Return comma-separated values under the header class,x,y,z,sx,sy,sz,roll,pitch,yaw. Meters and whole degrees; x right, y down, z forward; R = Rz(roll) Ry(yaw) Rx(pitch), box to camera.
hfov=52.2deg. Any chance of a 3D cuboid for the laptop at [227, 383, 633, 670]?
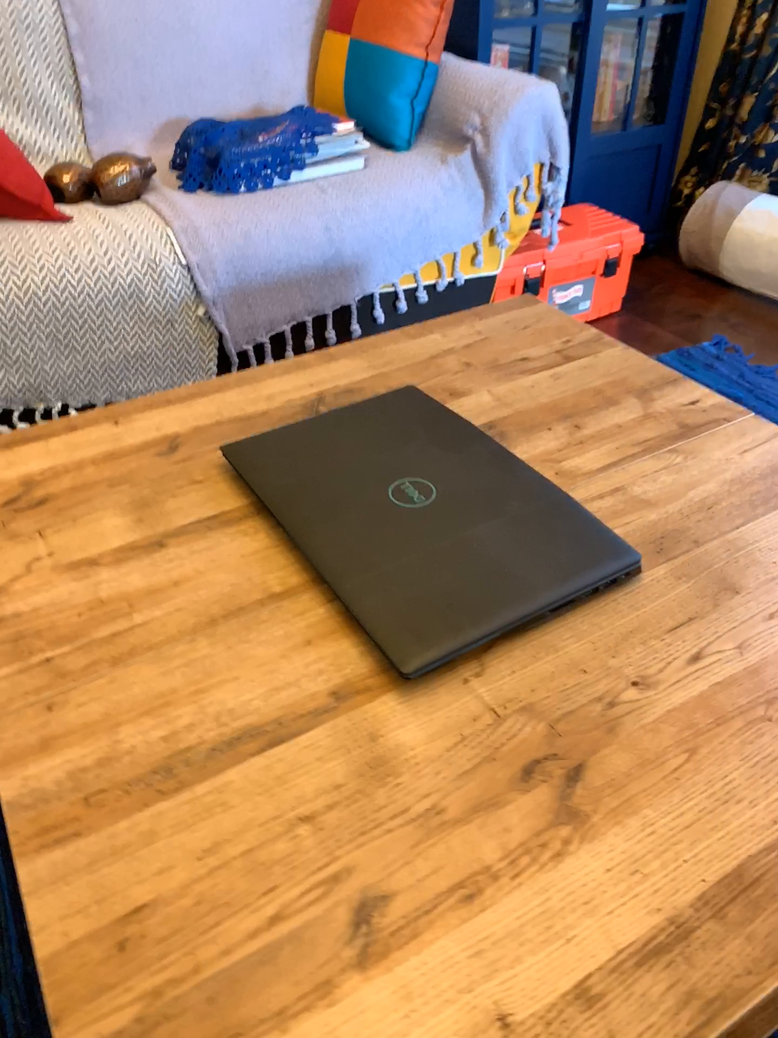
class,x,y,z,sx,sy,sz,roll,pitch,yaw
laptop,0.020,-0.023,0.737,0.227,0.001,0.347,-21,43,-23
